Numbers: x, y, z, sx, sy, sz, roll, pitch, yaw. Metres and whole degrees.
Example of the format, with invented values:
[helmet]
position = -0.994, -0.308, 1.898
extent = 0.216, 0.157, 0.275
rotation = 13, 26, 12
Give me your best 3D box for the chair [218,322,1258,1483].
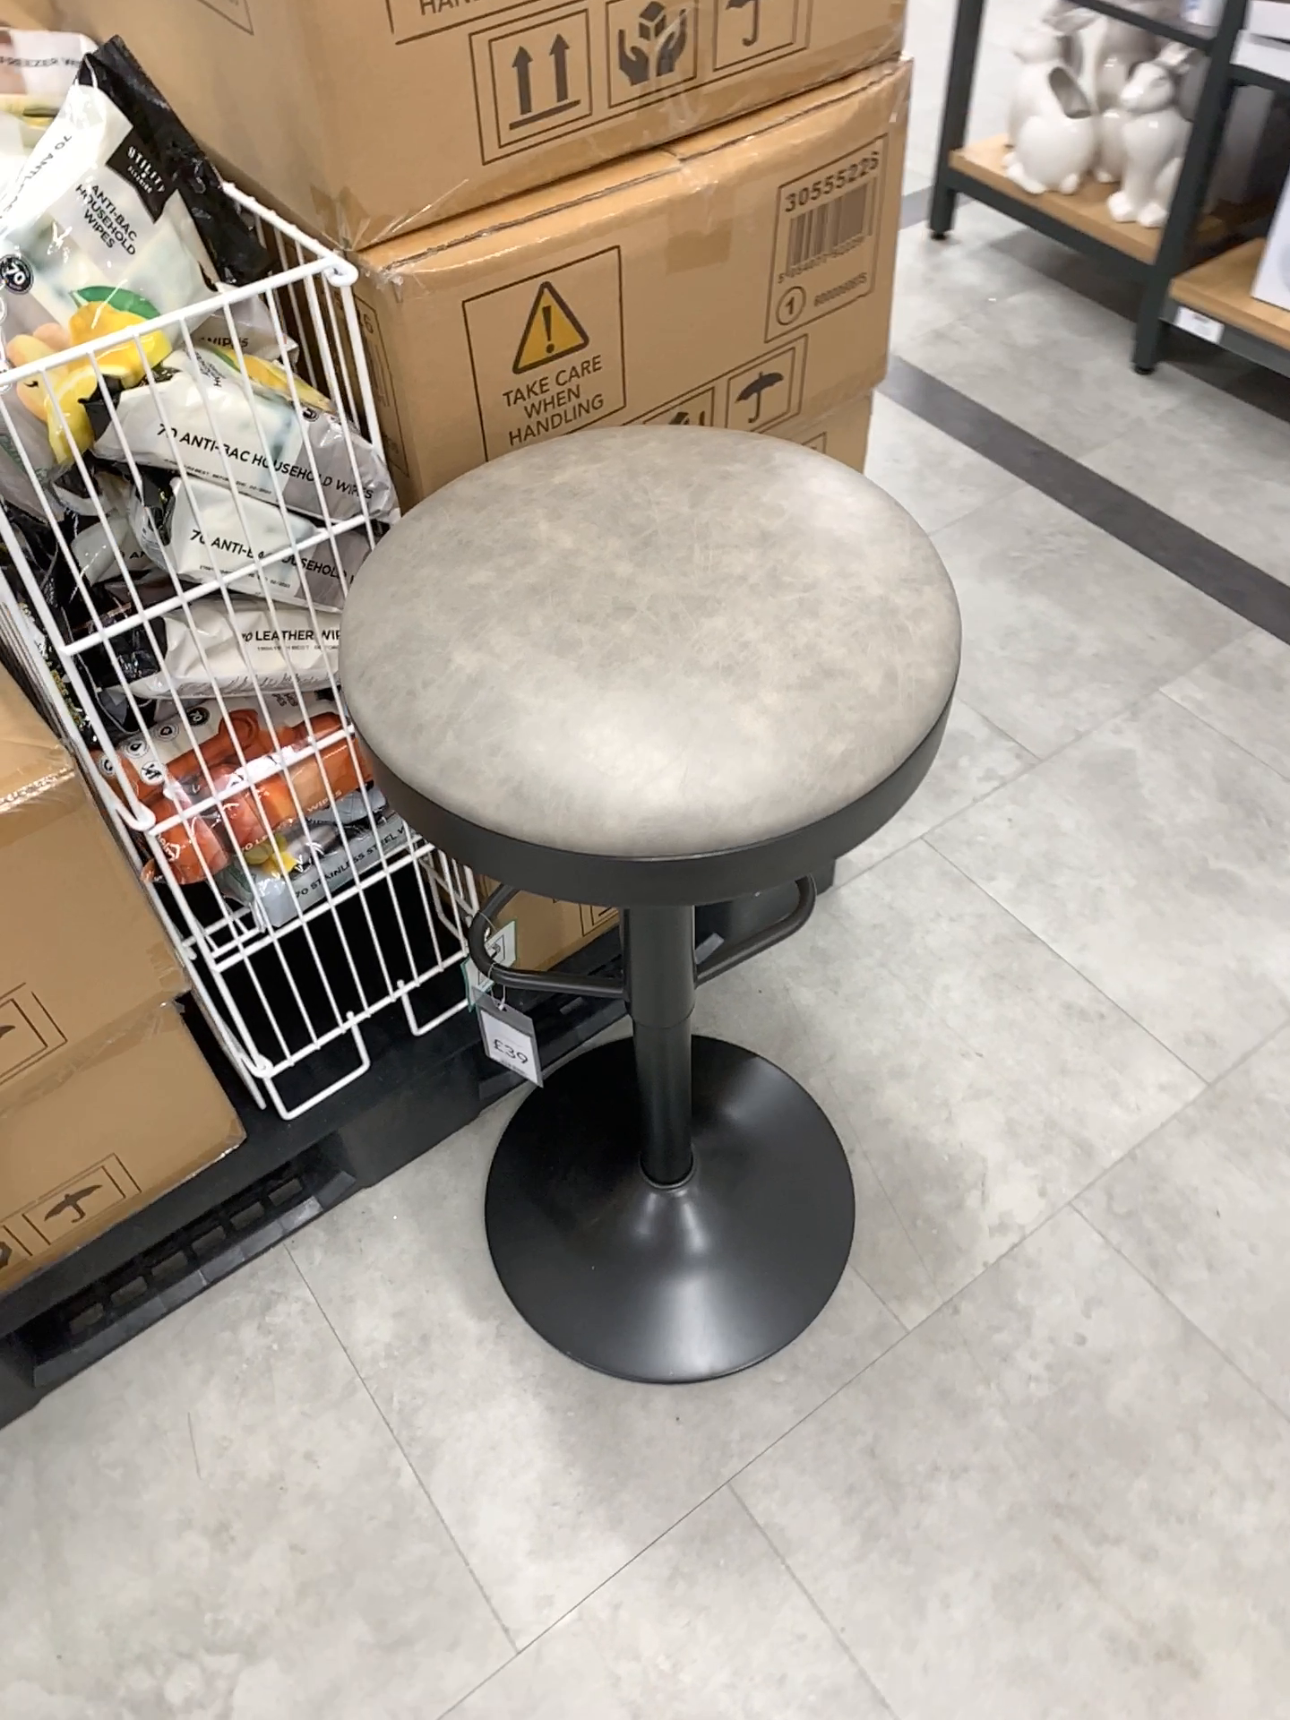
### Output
[chair]
position = 0.026, 0.080, 1.023
extent = 0.458, 0.741, 0.436
rotation = -15, 51, -11
